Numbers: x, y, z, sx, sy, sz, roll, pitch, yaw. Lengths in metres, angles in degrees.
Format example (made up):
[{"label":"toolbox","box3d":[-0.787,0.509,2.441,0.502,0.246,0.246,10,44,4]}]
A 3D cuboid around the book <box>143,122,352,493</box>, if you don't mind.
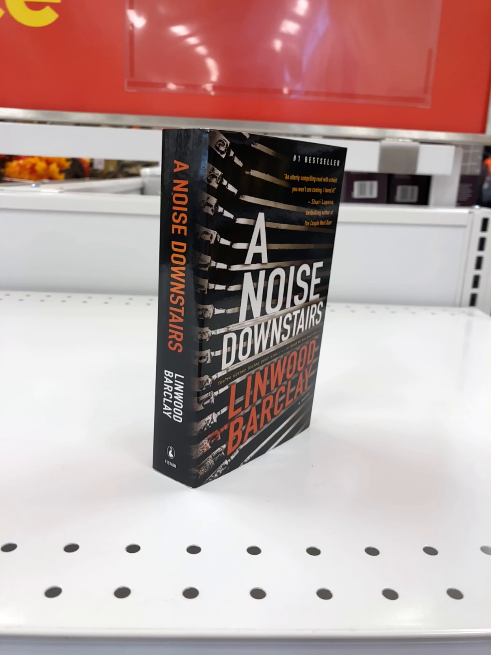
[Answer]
[{"label":"book","box3d":[0.002,-0.015,0.297,0.041,0.170,0.110,17,21,39]}]
